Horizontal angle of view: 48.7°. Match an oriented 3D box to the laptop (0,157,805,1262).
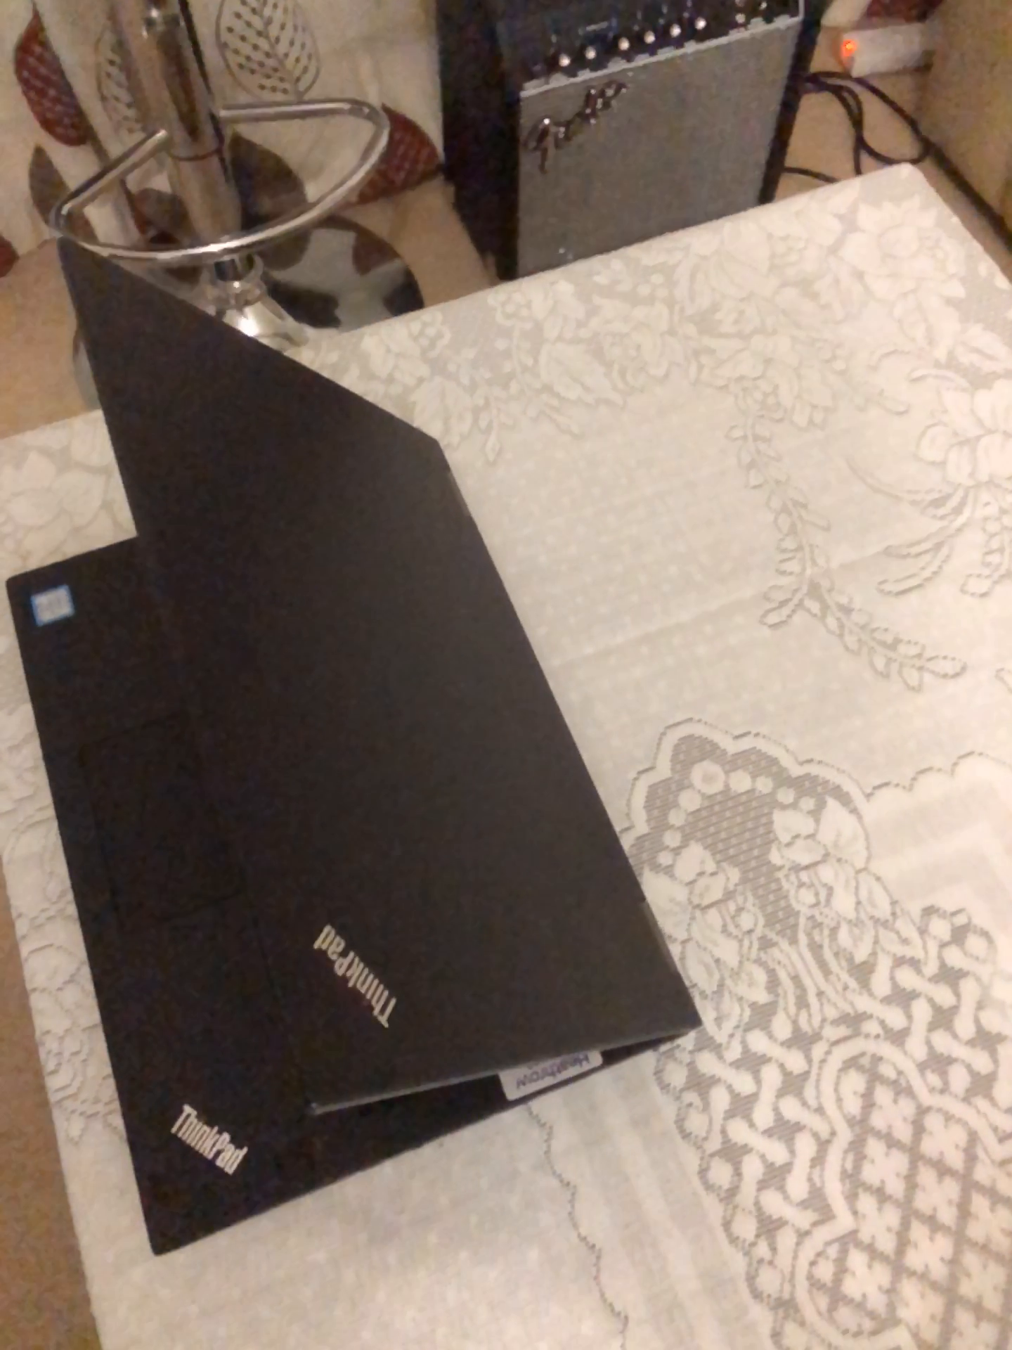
[{"bbox_3d":[-0.079,0.007,0.416,0.220,0.174,0.310,-19,63,-8],"label":"laptop"}]
